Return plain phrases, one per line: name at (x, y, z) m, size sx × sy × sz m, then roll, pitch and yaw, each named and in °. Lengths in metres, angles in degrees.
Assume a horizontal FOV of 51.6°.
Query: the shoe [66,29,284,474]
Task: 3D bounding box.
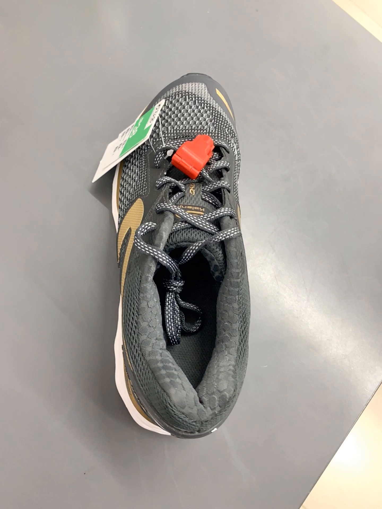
shoe at (-0.006, -0.004, 0.255) m, size 0.100 × 0.090 × 0.240 m, roll 6°, pitch 74°, yaw -8°
